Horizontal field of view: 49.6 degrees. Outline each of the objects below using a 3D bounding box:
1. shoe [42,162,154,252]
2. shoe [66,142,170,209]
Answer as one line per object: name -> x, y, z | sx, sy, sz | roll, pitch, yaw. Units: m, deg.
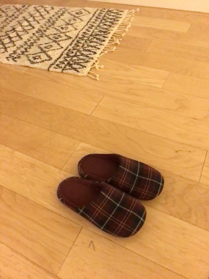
shoe -> -0.021, 0.163, 0.596 | 0.270, 0.030, 0.121 | 22, 56, 23
shoe -> 0.038, 0.093, 0.648 | 0.270, 0.030, 0.121 | 15, 53, 17
